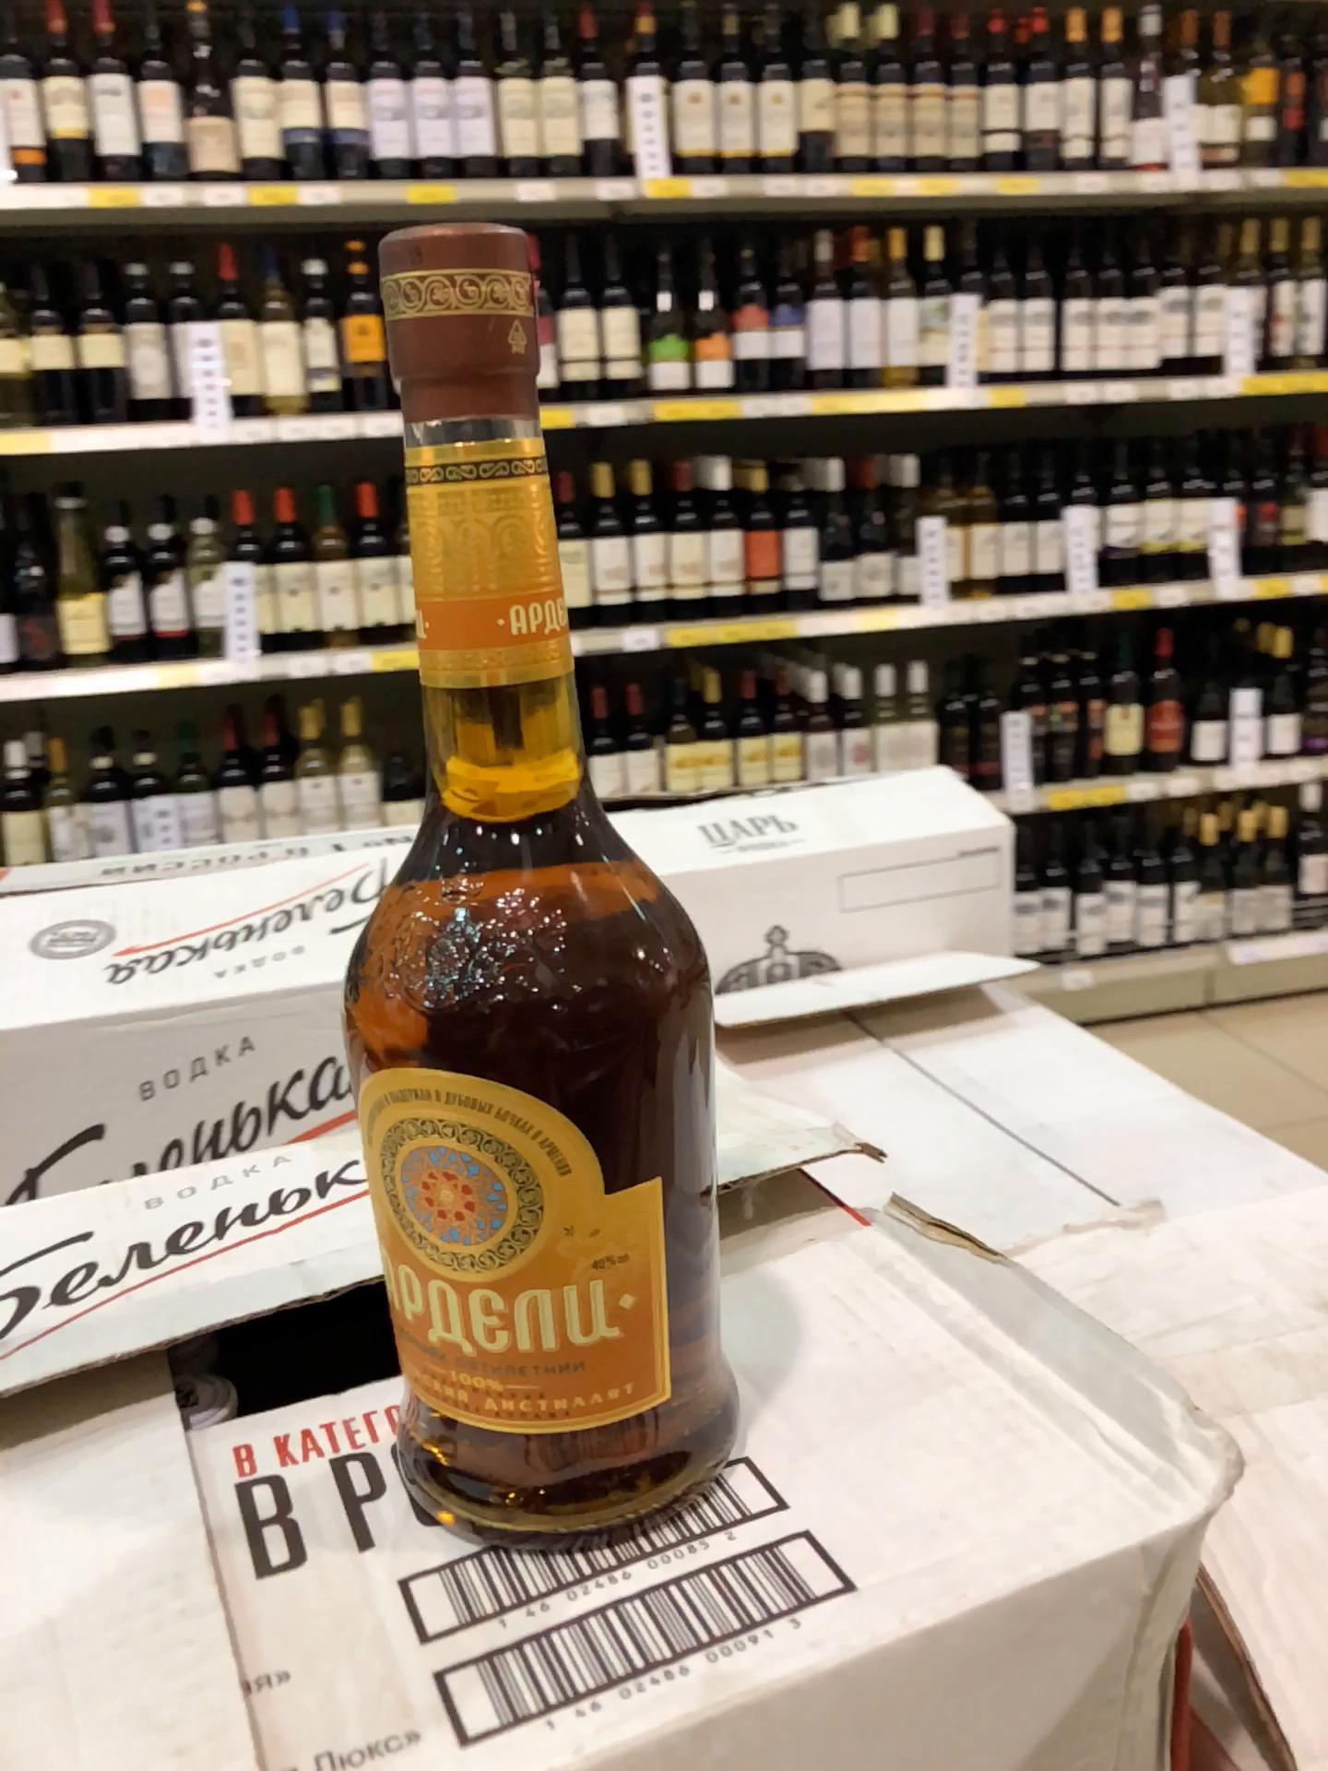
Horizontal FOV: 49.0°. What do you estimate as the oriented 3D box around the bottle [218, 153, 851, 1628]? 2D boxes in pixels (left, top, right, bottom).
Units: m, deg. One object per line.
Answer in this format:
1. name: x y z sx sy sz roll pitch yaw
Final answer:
1. bottle: -0.015 0.004 0.297 0.080 0.259 0.080 -3 16 1
